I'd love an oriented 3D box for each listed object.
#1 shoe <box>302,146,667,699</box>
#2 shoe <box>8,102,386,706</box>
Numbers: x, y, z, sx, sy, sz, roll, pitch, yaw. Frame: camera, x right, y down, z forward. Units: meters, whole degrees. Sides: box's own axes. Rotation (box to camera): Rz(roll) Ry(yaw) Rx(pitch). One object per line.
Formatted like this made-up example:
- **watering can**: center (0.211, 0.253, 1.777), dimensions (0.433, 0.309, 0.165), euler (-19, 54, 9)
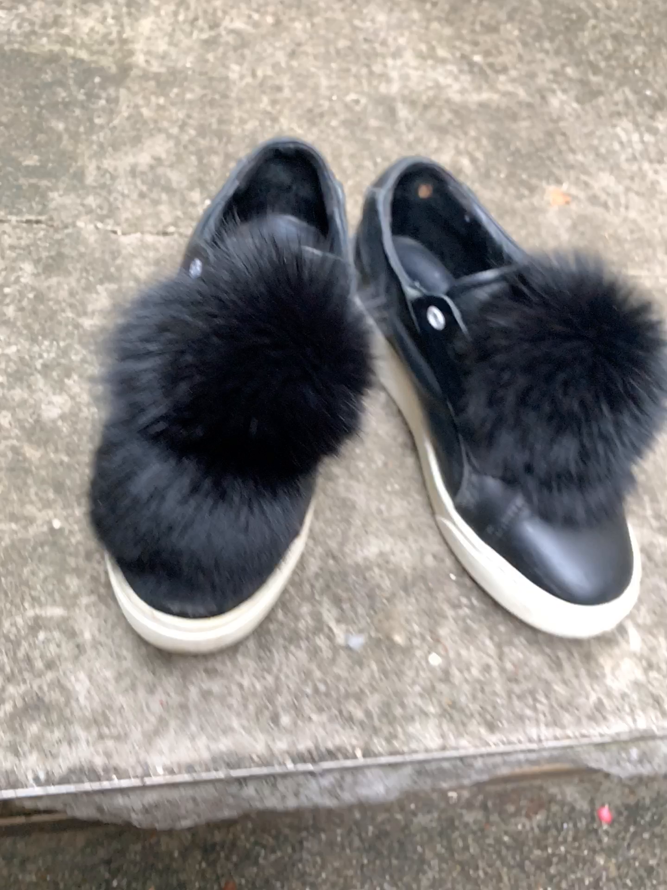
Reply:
- **shoe**: center (0.083, -0.025, 0.336), dimensions (0.098, 0.097, 0.243), euler (-14, 60, -22)
- **shoe**: center (-0.043, -0.036, 0.327), dimensions (0.095, 0.097, 0.270), euler (12, 53, -5)
